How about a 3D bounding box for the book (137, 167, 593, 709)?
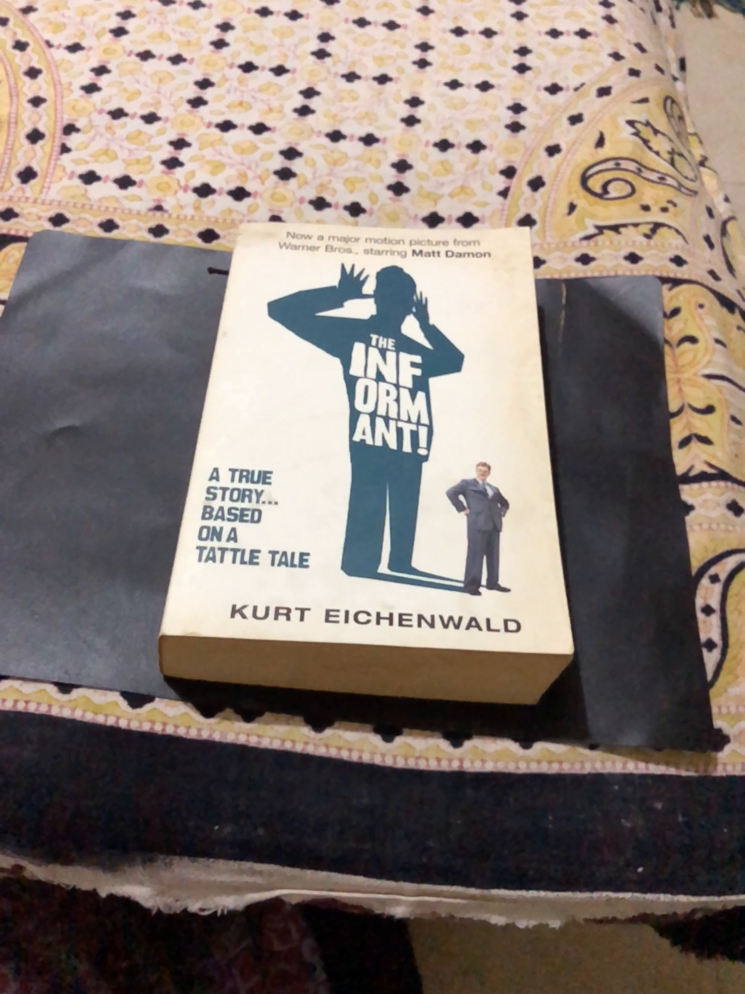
[{"bbox_3d":[0.002,-0.038,0.340,0.140,0.050,0.230,4,56,-1],"label":"book"}]
